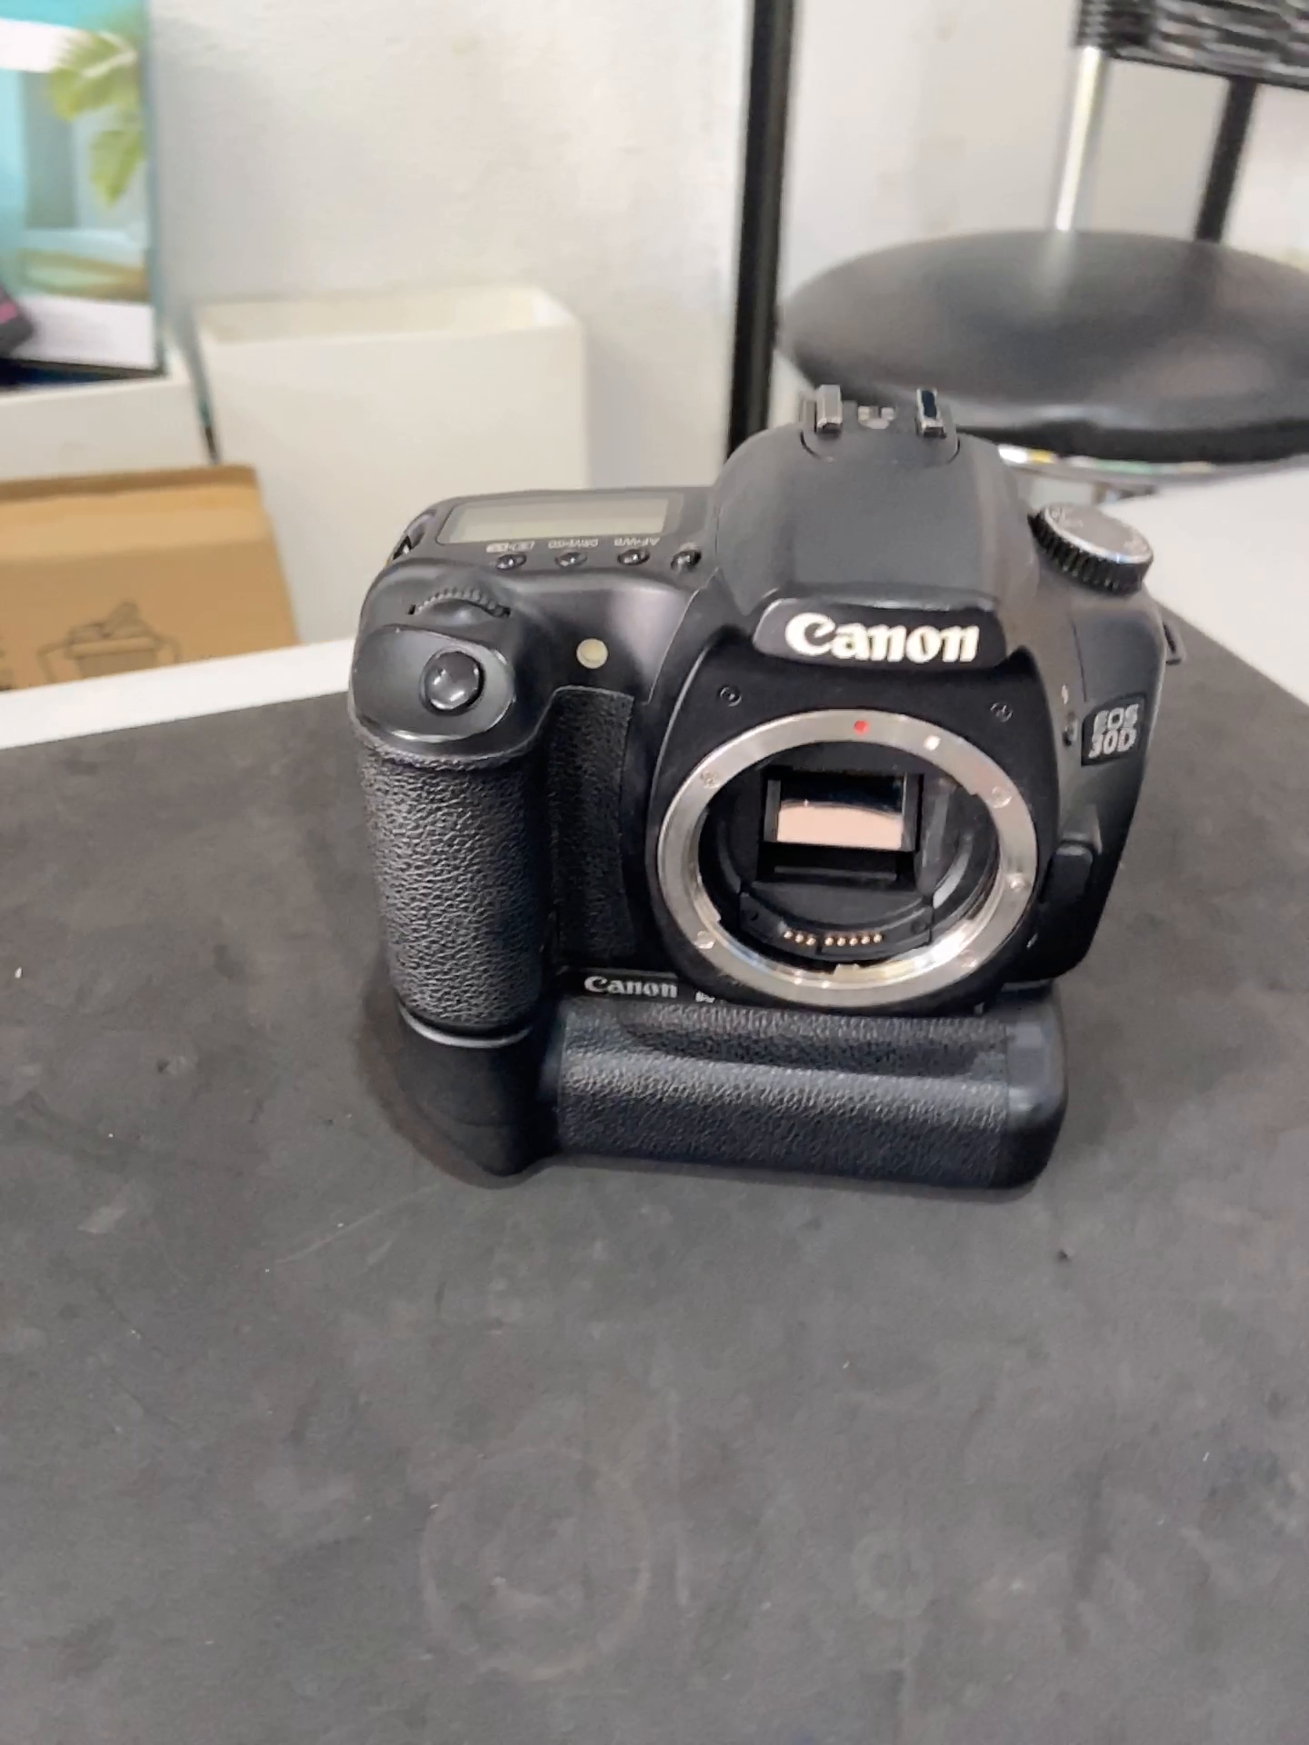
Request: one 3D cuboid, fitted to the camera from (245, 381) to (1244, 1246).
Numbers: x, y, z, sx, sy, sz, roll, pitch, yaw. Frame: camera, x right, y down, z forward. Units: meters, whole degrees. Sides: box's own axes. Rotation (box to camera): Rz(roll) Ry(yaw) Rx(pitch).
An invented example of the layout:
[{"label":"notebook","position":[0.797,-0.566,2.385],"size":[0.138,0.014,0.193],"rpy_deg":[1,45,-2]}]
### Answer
[{"label":"camera","position":[0.015,-0.010,0.264],"size":[0.140,0.139,0.081],"rpy_deg":[3,37,5]}]
